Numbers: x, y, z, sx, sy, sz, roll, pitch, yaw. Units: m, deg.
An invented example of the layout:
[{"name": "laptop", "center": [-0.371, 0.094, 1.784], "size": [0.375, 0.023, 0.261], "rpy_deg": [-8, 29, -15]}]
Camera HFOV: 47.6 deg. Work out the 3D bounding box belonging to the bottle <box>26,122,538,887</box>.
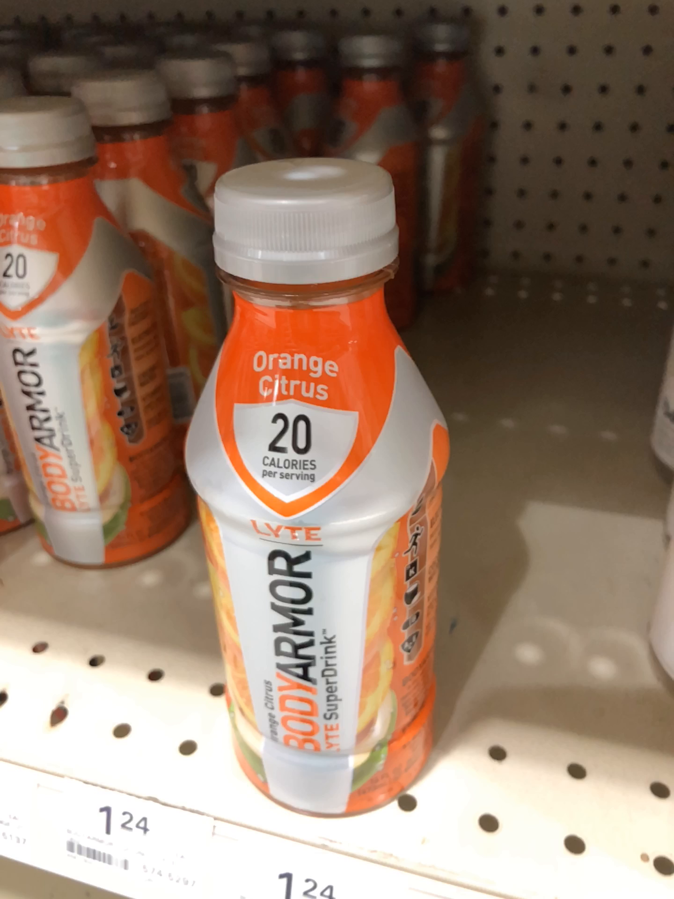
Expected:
[{"name": "bottle", "center": [0.000, 0.019, 0.201], "size": [0.080, 0.179, 0.080], "rpy_deg": [-2, 34, 1]}]
